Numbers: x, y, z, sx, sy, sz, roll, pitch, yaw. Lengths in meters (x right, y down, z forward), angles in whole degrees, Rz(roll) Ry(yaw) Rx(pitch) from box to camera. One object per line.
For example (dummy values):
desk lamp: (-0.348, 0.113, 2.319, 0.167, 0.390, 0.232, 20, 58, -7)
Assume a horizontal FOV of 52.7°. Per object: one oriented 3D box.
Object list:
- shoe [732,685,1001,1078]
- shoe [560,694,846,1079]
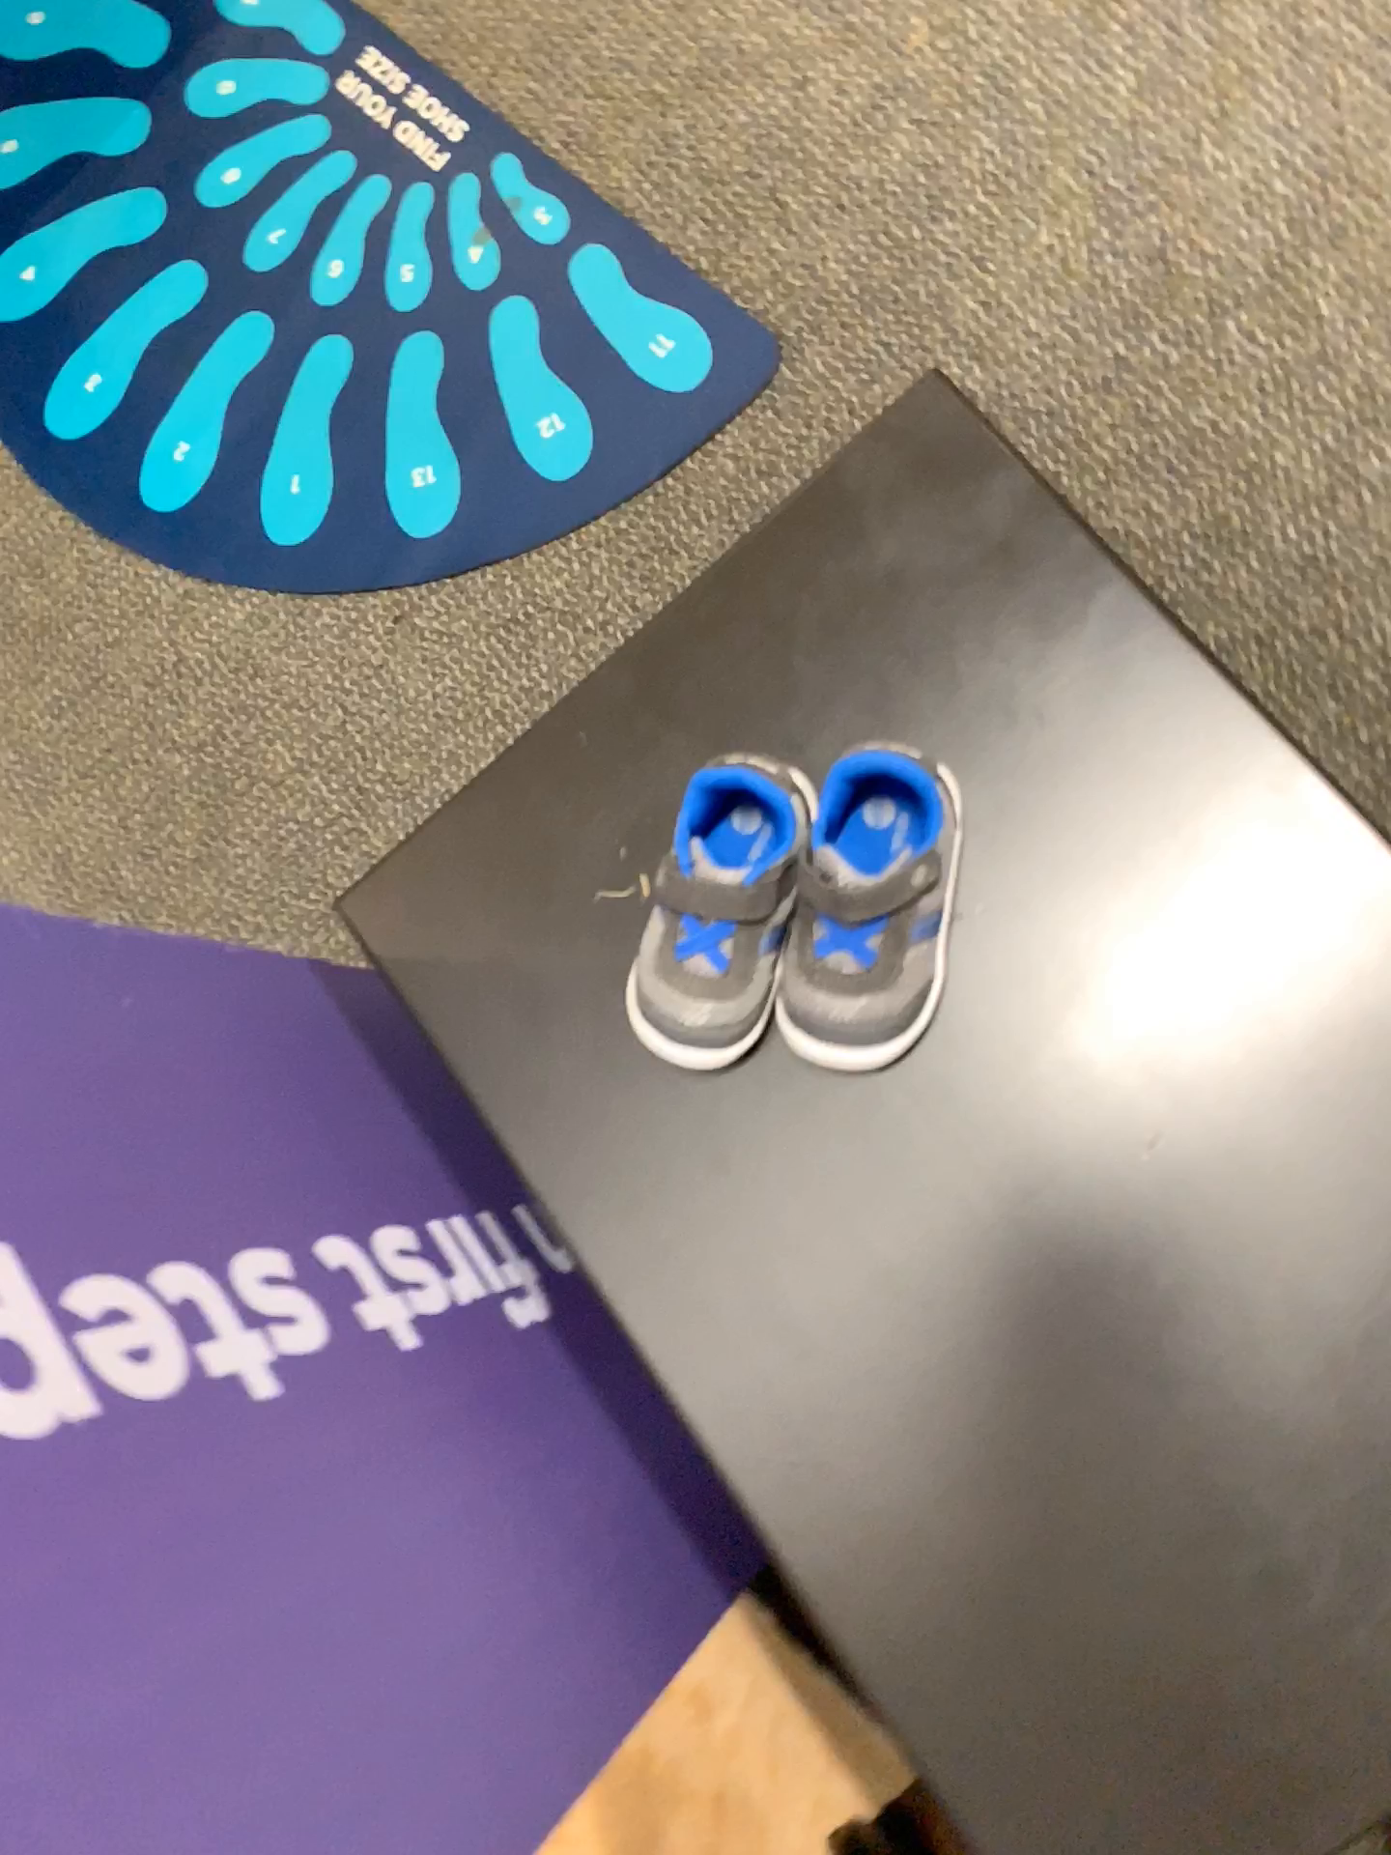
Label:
shoe: (0.071, -0.017, 0.564, 0.070, 0.060, 0.140, 11, 87, 19)
shoe: (0.005, -0.015, 0.582, 0.070, 0.060, 0.140, 14, 88, 19)
